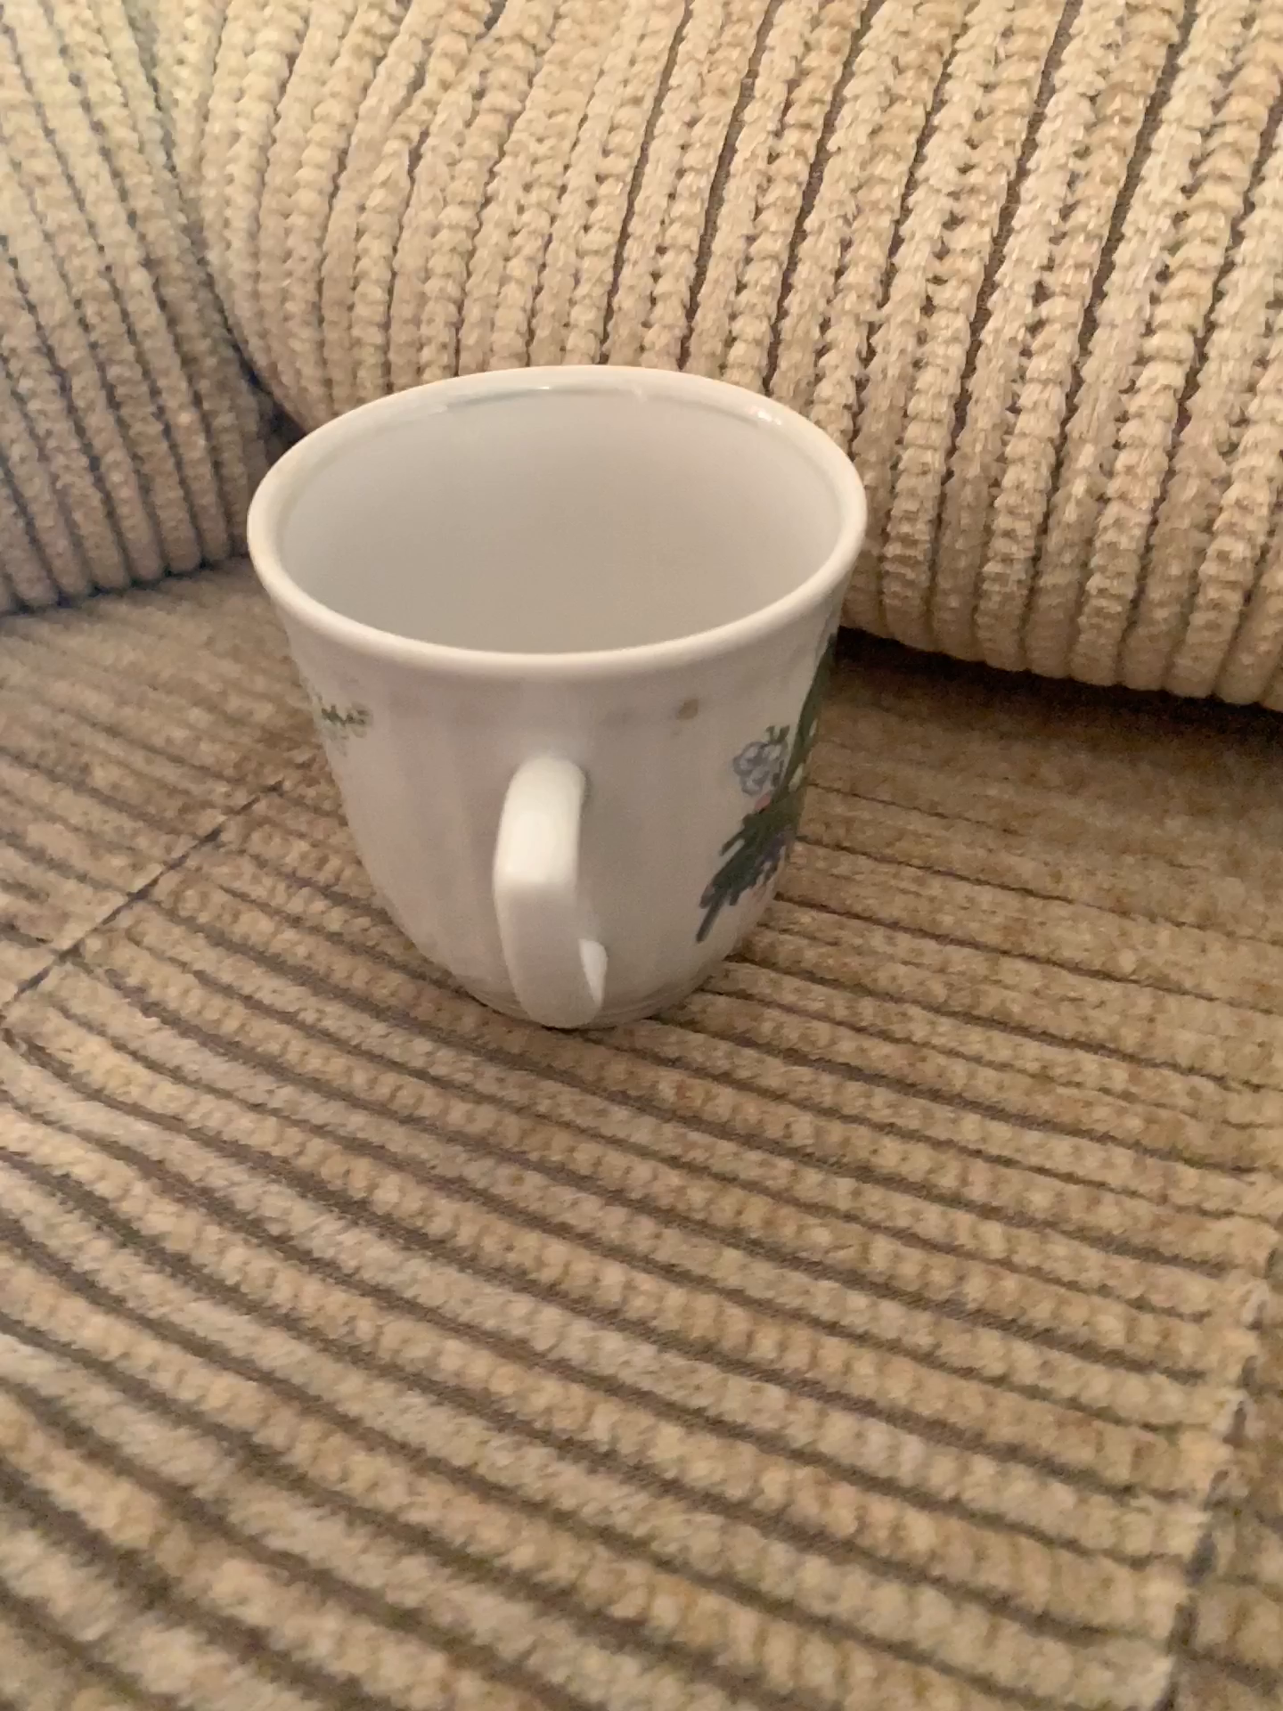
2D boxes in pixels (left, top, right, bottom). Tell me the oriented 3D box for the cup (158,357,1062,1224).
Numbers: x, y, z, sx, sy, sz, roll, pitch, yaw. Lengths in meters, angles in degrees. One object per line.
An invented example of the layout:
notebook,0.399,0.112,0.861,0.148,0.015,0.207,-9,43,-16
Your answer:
cup,-0.011,-0.020,0.206,0.095,0.077,0.113,-6,36,-9
